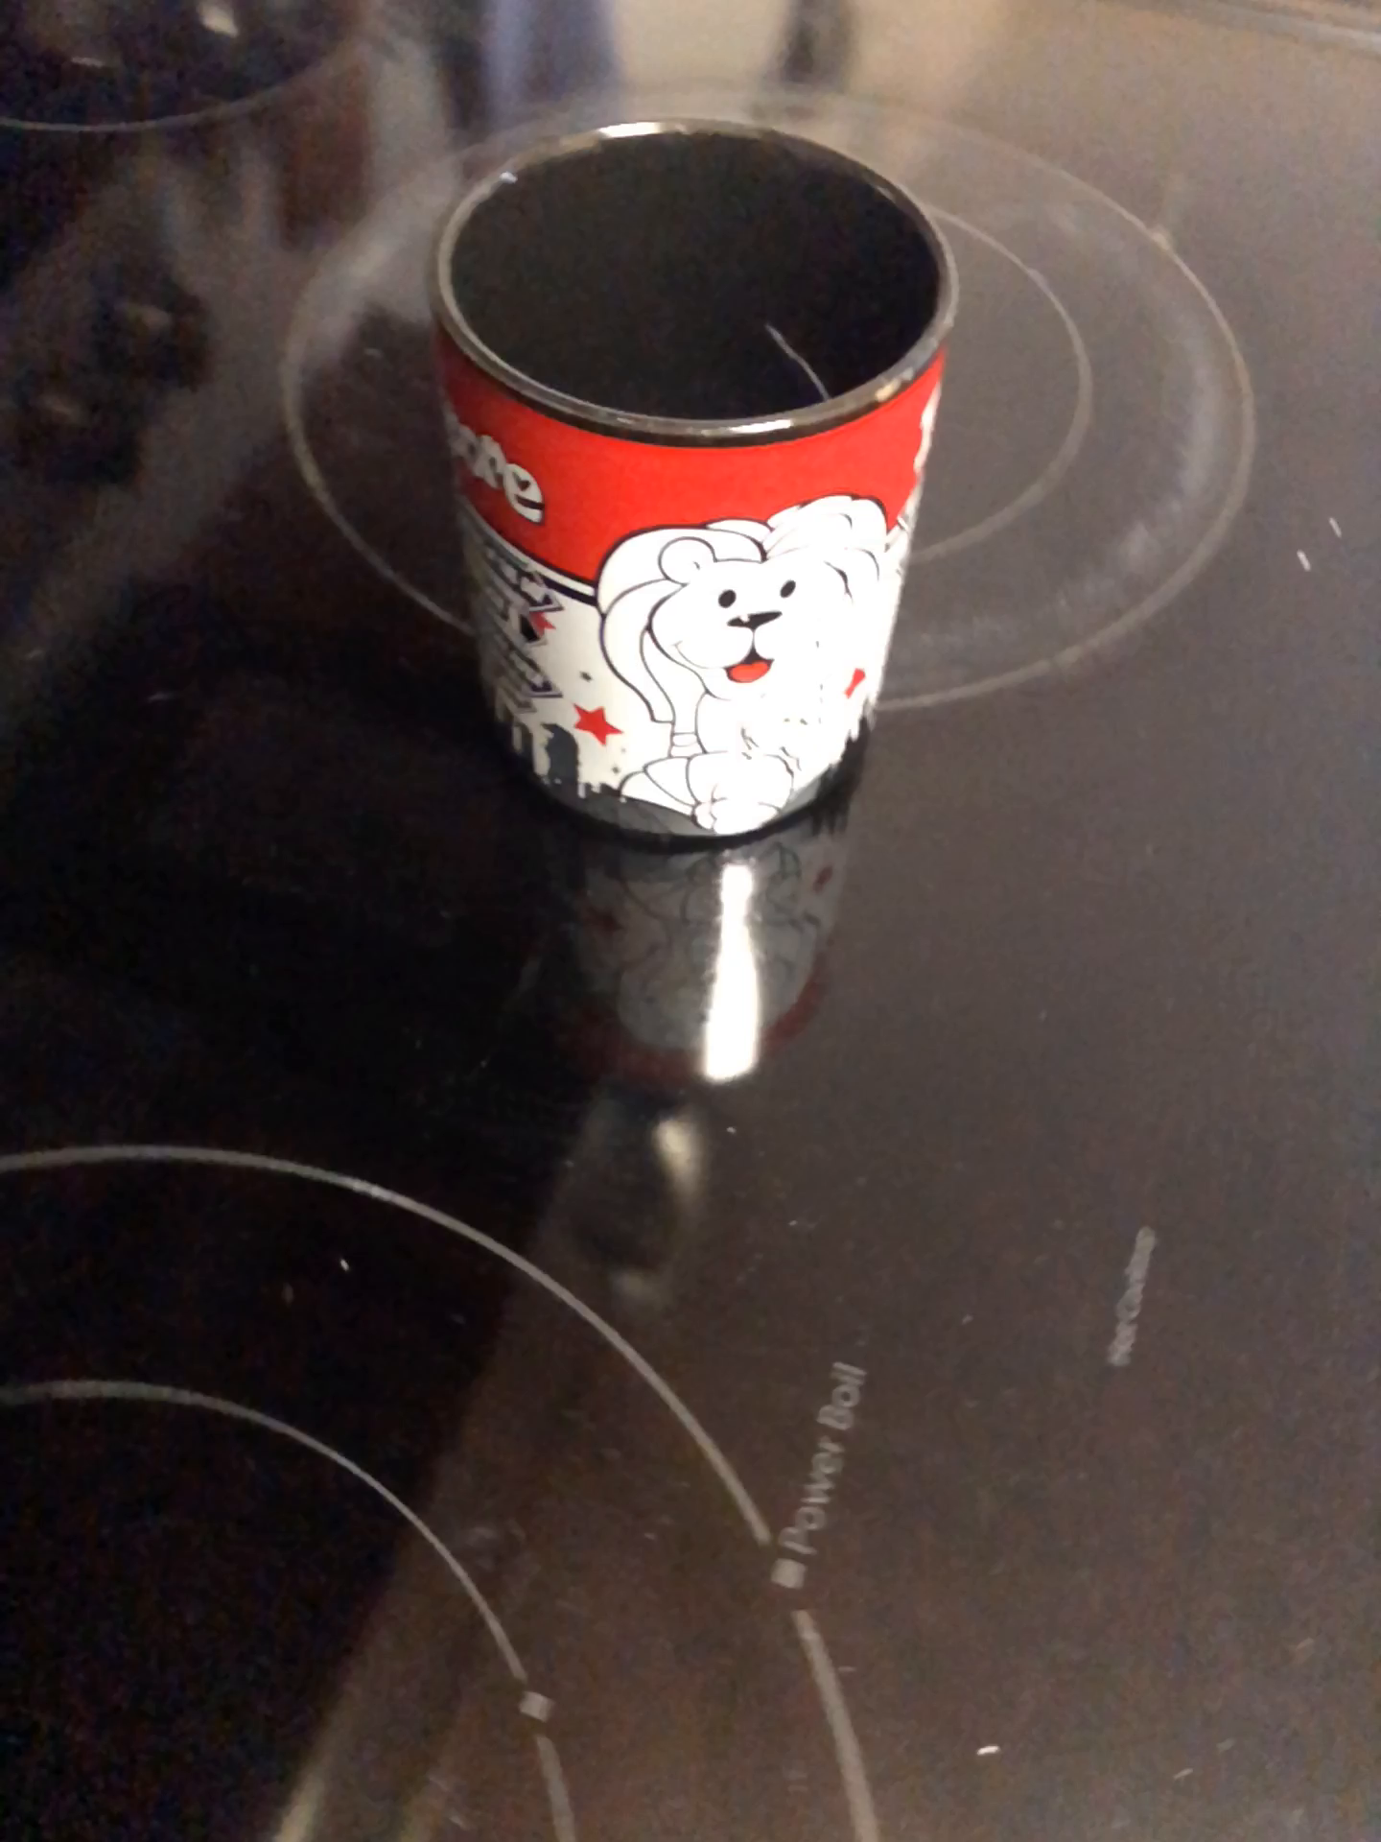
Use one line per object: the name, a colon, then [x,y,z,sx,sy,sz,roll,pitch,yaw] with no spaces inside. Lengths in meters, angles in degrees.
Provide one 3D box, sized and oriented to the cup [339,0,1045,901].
cup: [-0.008,-0.087,0.272,0.090,0.090,0.130,-6,56,-6]
